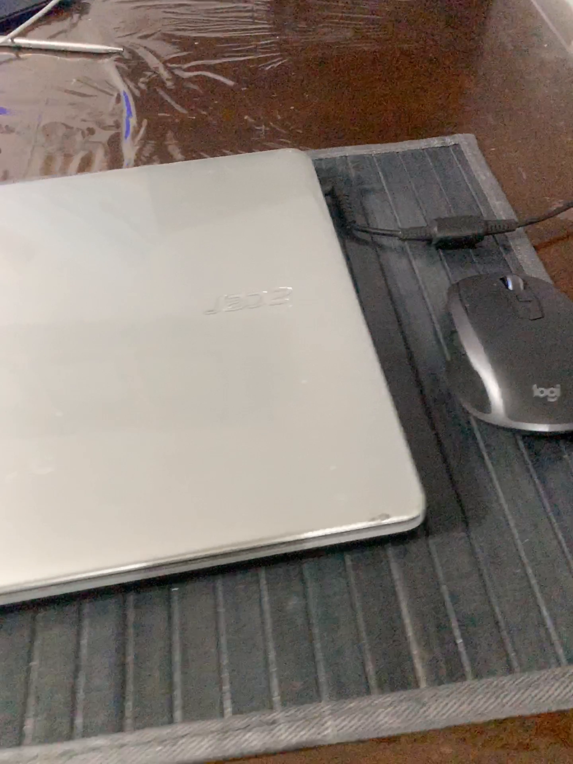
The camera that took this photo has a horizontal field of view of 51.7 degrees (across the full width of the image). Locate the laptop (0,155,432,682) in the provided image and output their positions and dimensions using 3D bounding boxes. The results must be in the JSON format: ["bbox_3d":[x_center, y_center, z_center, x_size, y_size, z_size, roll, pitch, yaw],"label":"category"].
[{"bbox_3d":[-0.131,-0.019,0.268,0.335,0.002,0.224,-8,55,-6],"label":"laptop"}]
